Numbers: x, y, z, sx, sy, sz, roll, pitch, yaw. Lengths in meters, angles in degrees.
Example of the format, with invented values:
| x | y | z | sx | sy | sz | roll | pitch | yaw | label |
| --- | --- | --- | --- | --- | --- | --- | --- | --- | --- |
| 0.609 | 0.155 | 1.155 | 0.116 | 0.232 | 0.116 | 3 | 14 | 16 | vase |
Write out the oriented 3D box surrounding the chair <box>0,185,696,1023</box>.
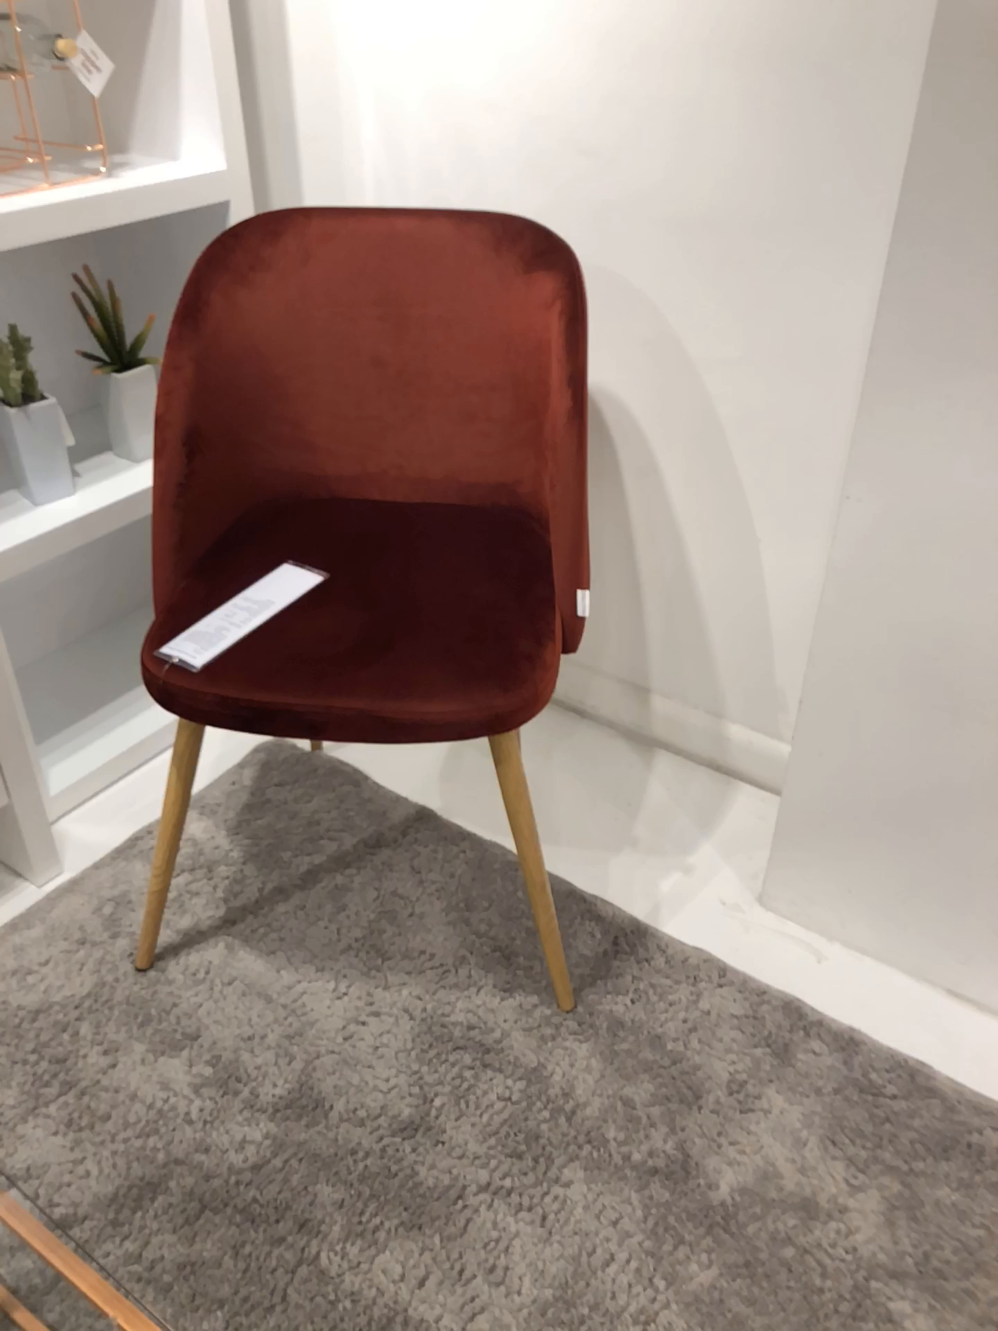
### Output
| x | y | z | sx | sy | sz | roll | pitch | yaw | label |
| --- | --- | --- | --- | --- | --- | --- | --- | --- | --- |
| -0.147 | -0.099 | 1.286 | 0.590 | 0.735 | 0.655 | 1 | 34 | 1 | chair |
